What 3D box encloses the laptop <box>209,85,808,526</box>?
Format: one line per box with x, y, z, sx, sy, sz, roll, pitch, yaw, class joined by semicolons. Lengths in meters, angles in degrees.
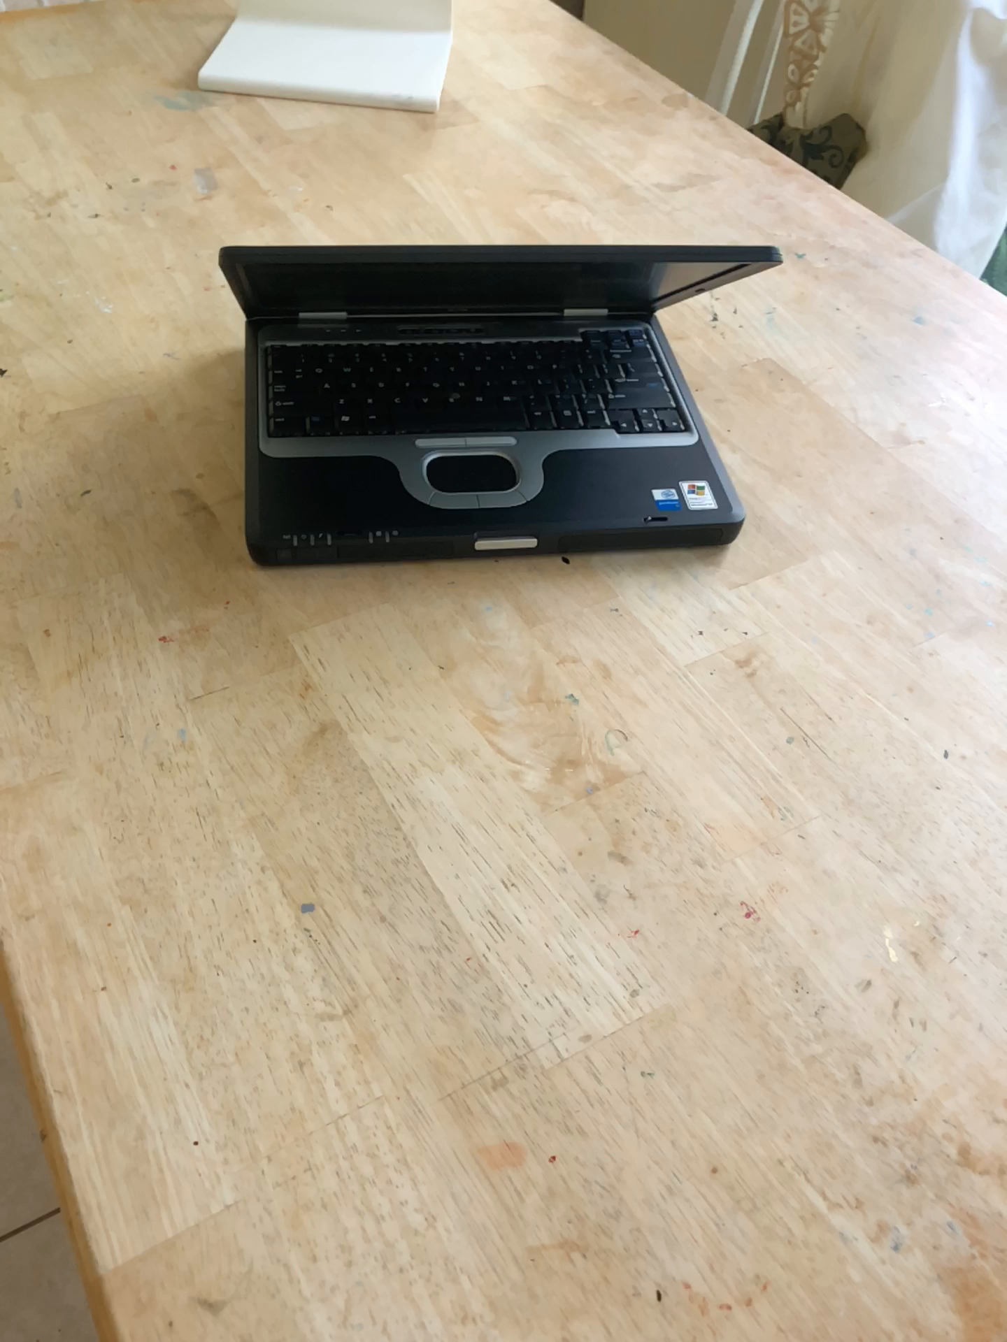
-0.014;-0.242;0.706;0.305;0.162;0.256;-4;47;-8;laptop
